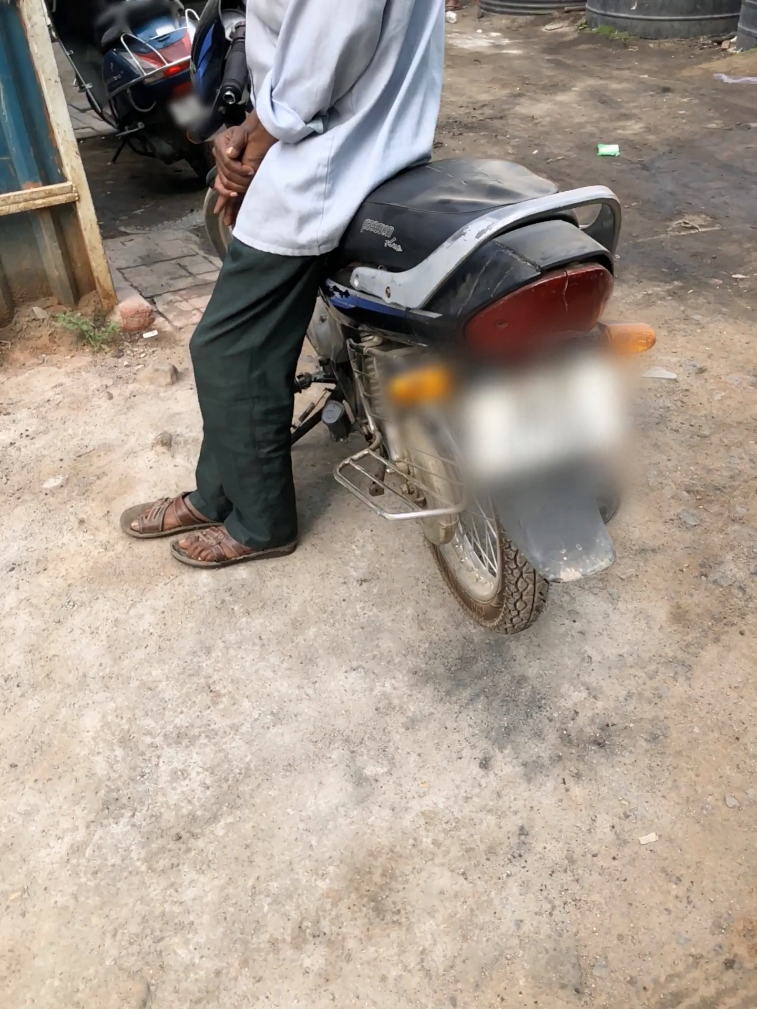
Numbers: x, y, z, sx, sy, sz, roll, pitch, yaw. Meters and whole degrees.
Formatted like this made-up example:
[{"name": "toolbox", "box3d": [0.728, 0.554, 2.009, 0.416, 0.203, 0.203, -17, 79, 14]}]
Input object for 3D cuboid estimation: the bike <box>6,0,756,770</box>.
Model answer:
[{"name": "bike", "box3d": [-0.129, -0.618, 1.803, 0.785, 1.154, 1.807, -17, 41, -17]}]
